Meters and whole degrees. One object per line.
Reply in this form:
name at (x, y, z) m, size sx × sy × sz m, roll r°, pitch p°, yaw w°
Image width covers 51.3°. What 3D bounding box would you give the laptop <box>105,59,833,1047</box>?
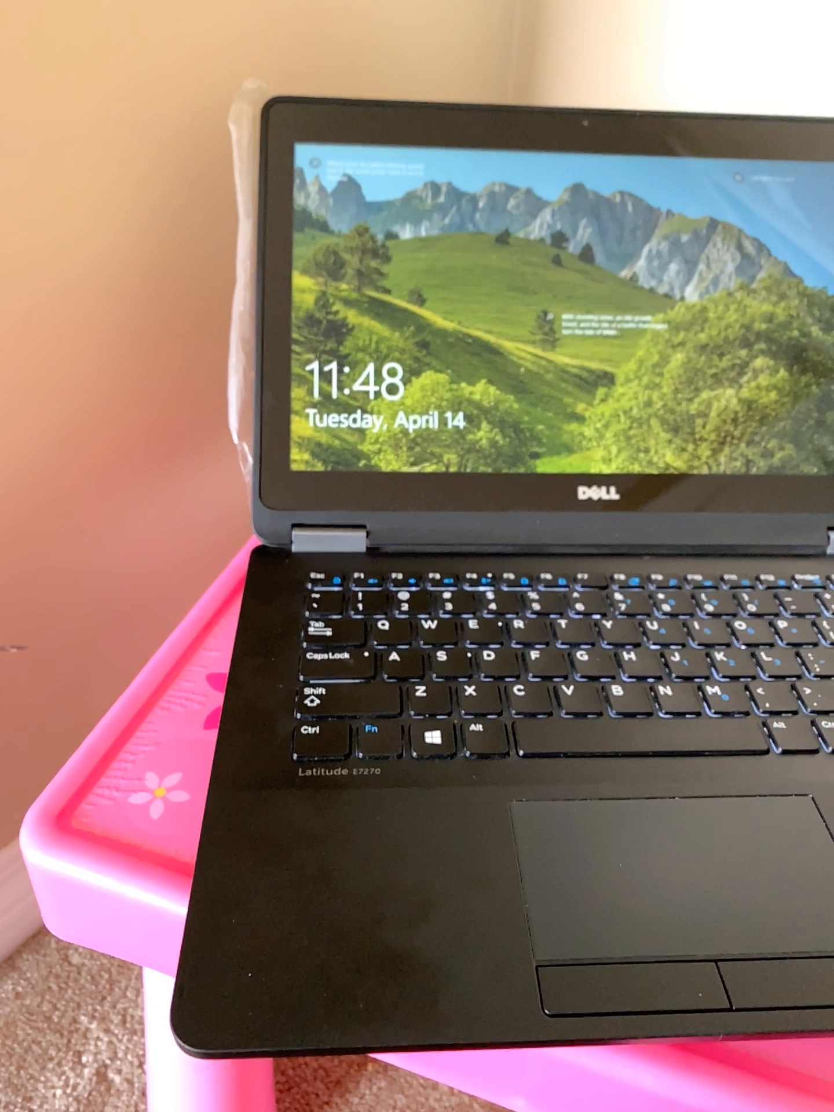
laptop at (0.076, -0.043, 0.273) m, size 0.261 × 0.121 × 0.303 m, roll 0°, pitch 41°, yaw -5°
